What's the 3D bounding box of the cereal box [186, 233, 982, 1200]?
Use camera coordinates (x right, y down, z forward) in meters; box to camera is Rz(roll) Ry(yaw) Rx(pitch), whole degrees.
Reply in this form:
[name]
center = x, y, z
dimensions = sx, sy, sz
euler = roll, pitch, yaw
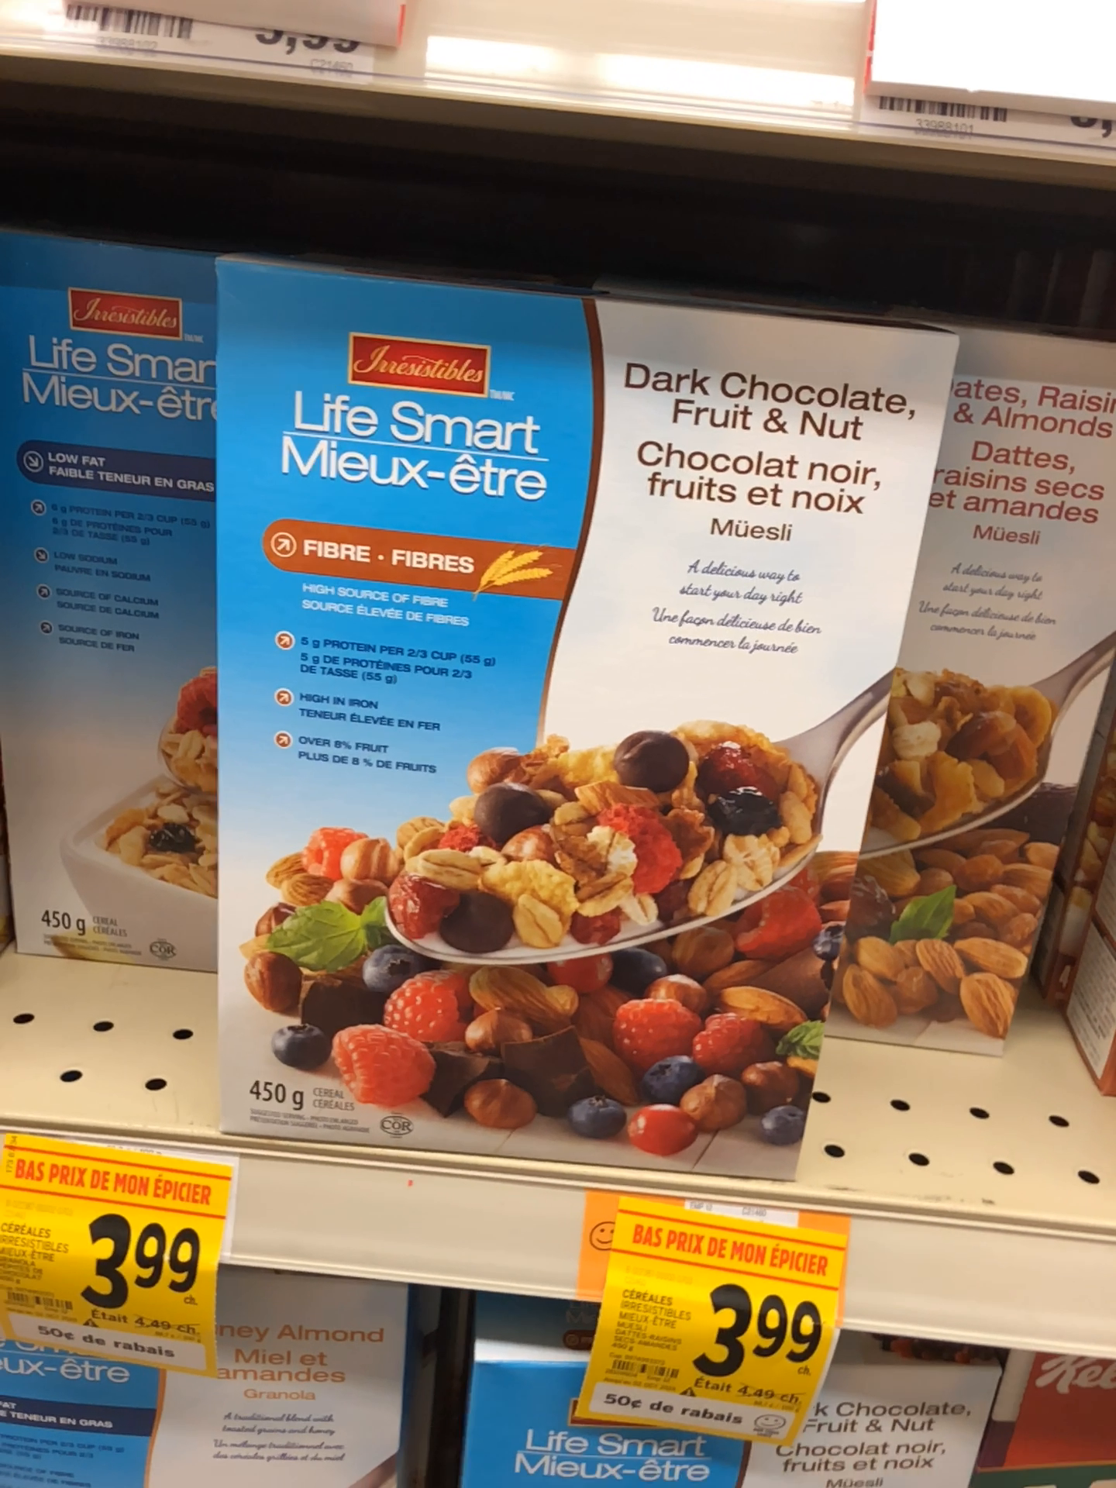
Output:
[cereal box]
center = -0.005, 0.001, 0.330
dimensions = 0.170, 0.238, 0.050
euler = 5, 21, -1
